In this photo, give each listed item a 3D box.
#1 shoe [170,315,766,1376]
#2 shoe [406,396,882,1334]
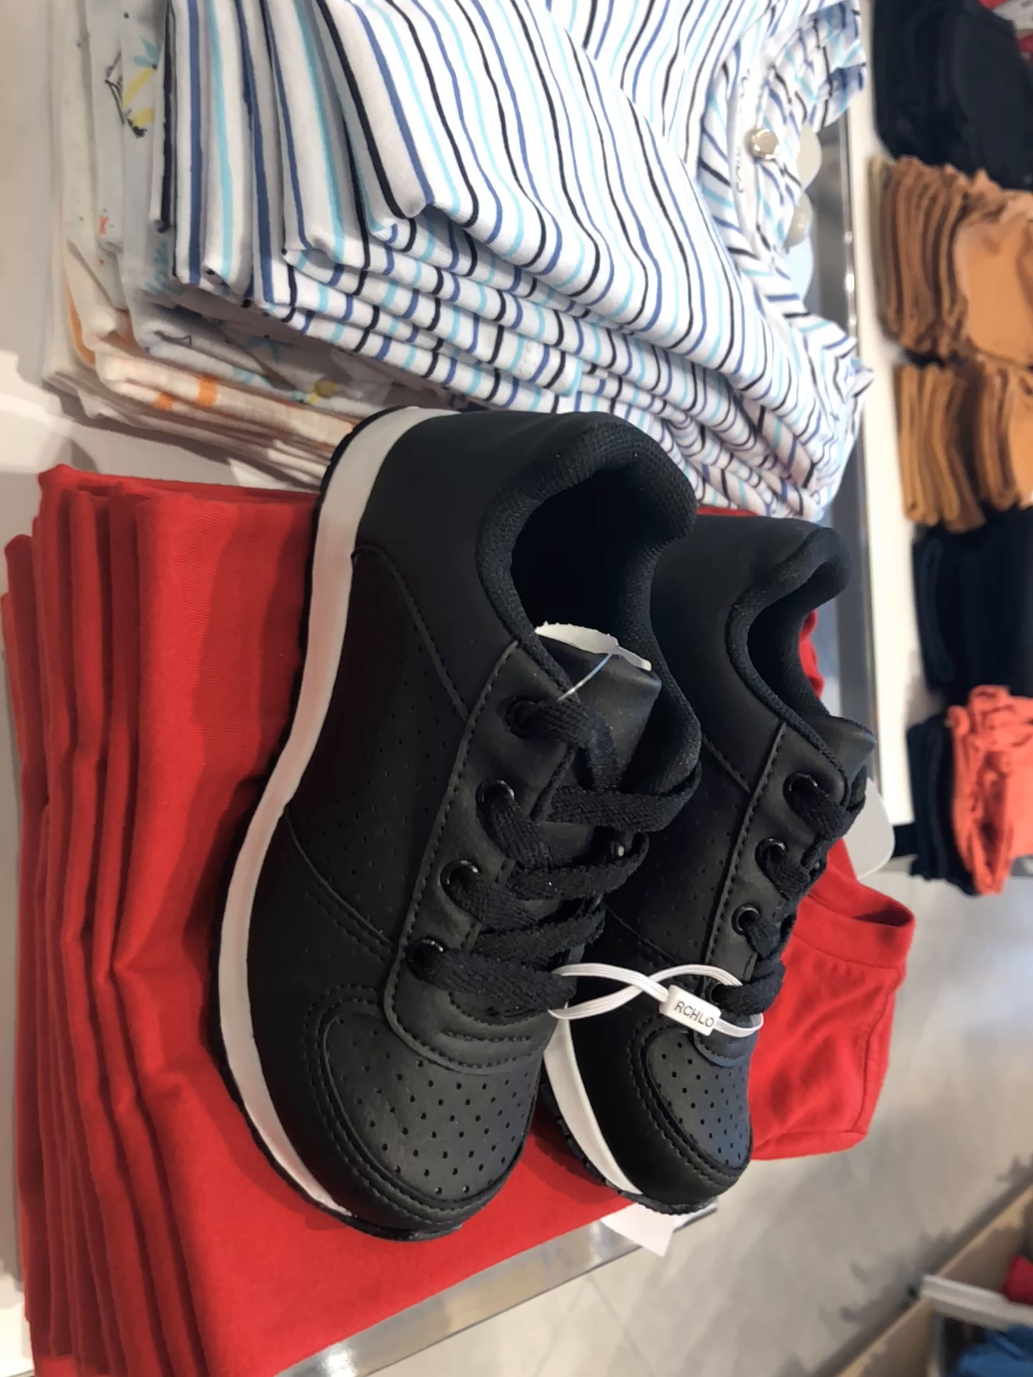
[{"bbox_3d":[-0.005,0.031,0.242,0.081,0.079,0.180,14,78,-54],"label":"shoe"},{"bbox_3d":[0.033,0.038,0.291,0.080,0.086,0.190,7,80,-58],"label":"shoe"}]
